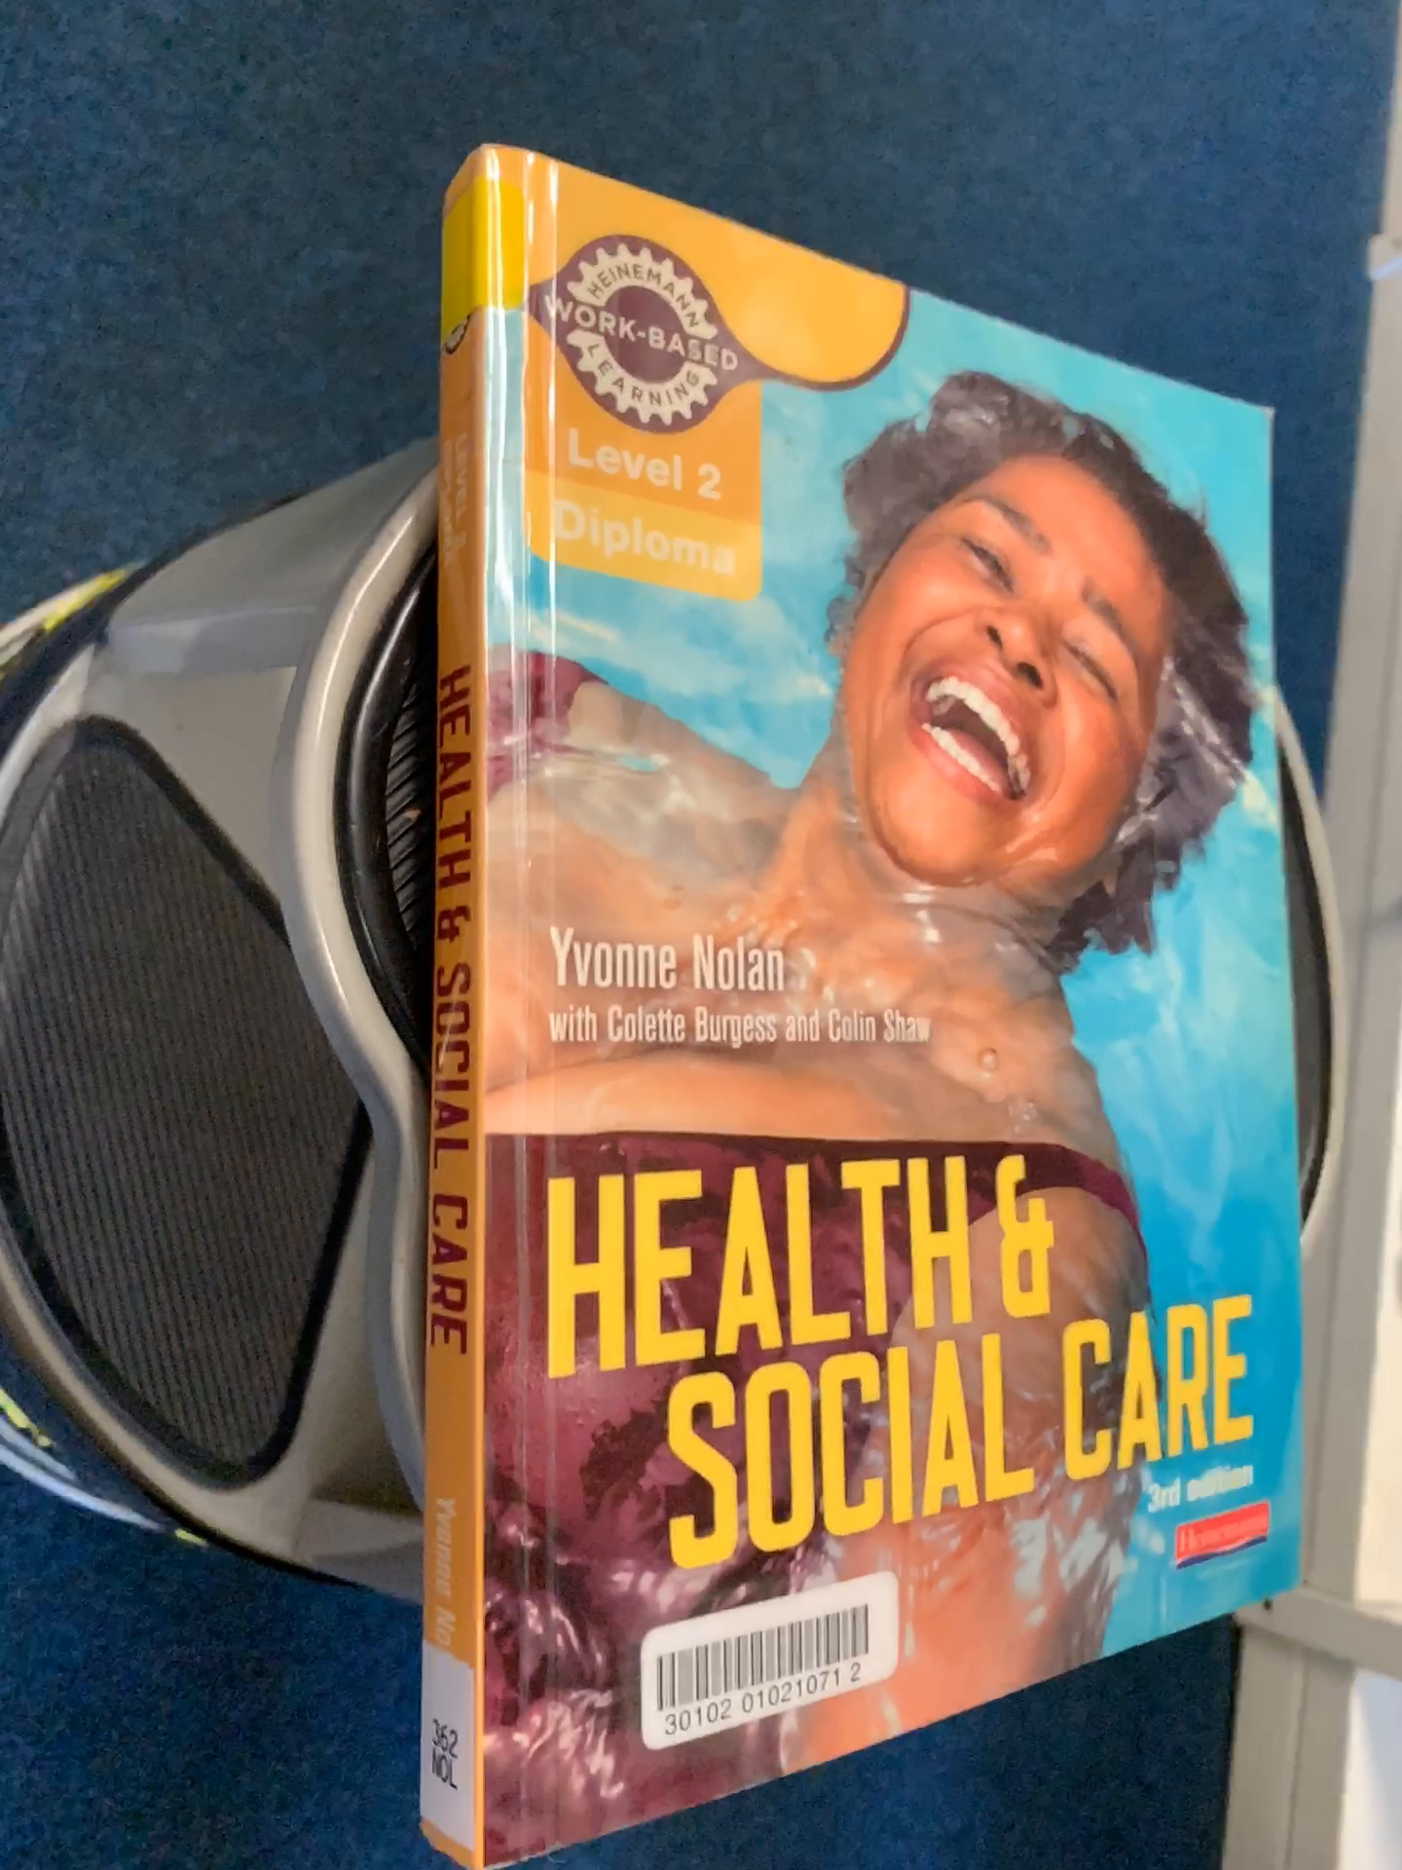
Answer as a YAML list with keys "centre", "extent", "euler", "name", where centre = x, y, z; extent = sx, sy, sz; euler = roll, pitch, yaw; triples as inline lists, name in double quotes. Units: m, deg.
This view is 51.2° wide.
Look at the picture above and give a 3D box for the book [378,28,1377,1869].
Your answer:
- centre: [0.044, 0.008, 0.267]
  extent: [0.201, 0.030, 0.270]
  euler: [2, 84, -33]
  name: "book"
